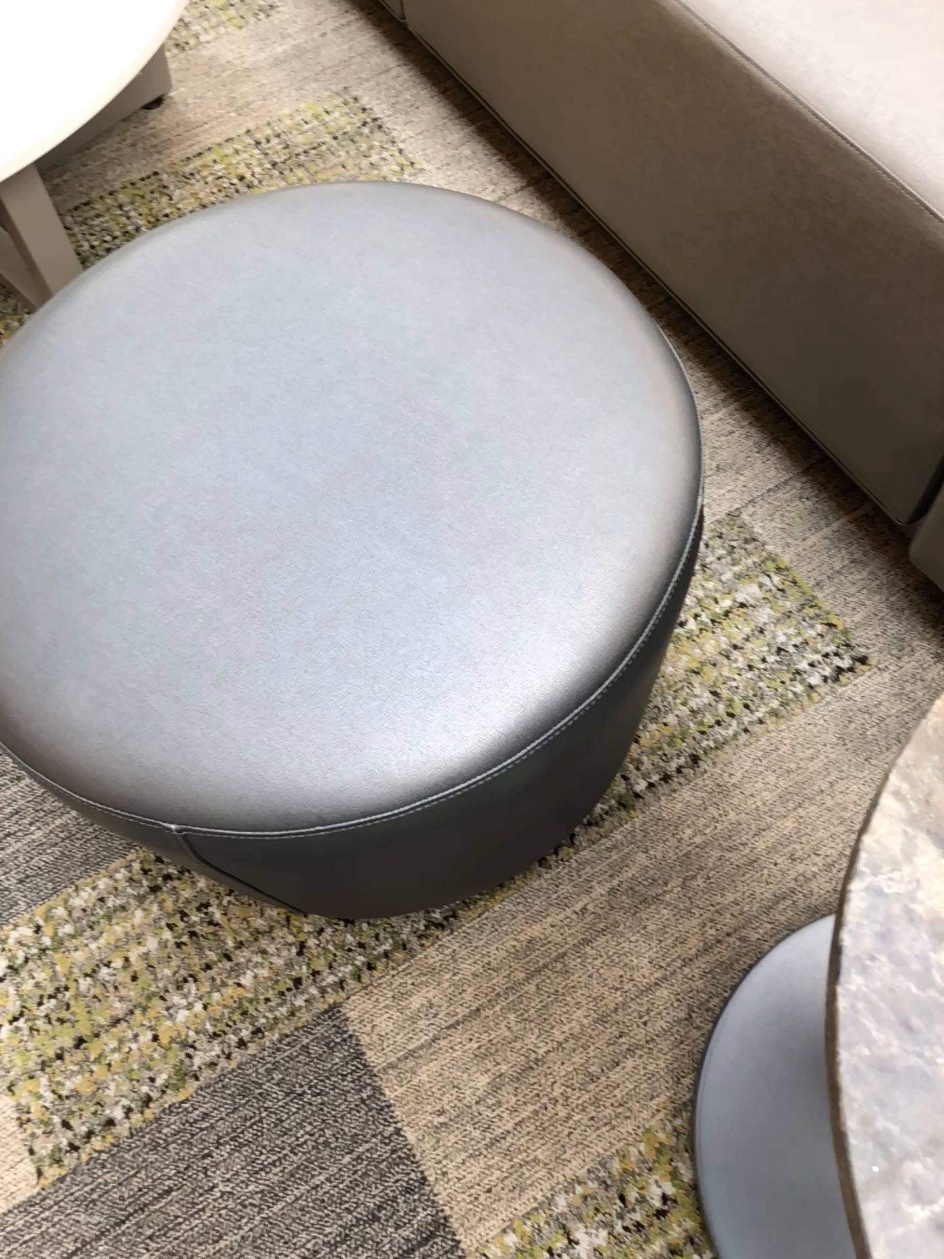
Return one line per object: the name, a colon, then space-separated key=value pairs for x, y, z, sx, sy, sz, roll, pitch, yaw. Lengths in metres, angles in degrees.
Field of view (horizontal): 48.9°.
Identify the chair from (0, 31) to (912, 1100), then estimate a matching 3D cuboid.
chair: x=-0.116 y=-0.047 z=0.915 sx=0.570 sy=0.459 sz=0.621 roll=-26 pitch=63 yaw=-9
